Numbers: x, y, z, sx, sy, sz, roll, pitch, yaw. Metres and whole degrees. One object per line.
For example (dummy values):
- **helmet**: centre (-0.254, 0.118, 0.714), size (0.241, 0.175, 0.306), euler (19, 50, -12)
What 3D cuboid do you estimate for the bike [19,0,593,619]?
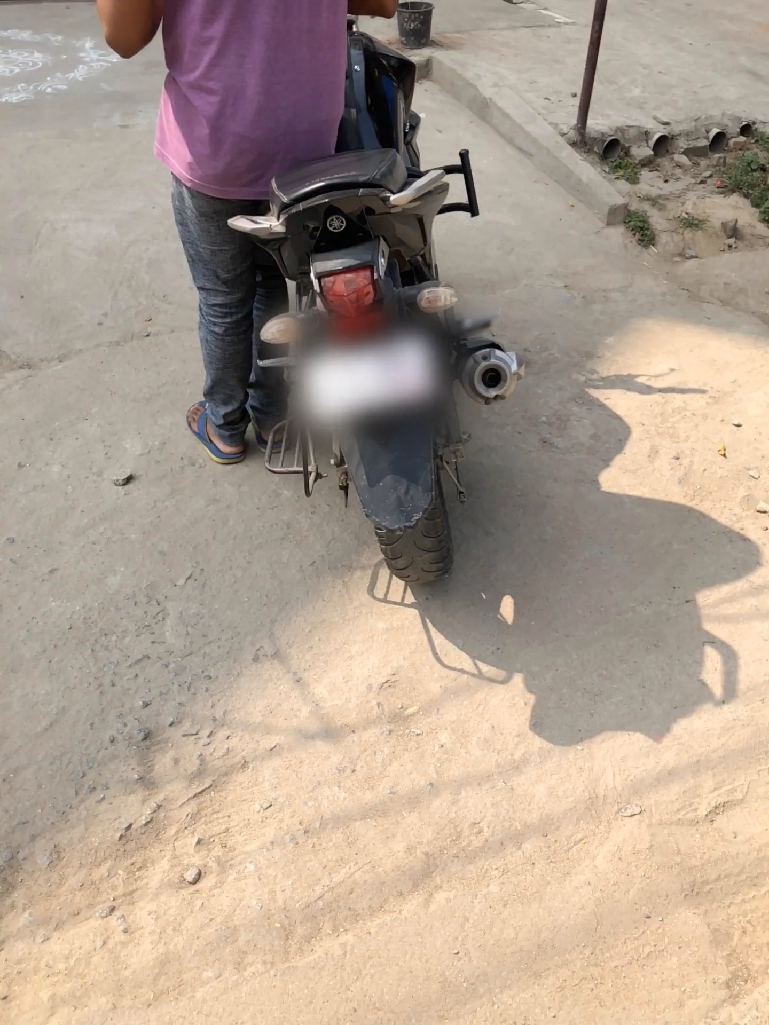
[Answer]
- **bike**: centre (-0.269, -0.744, 1.931), size (0.684, 0.959, 1.695), euler (-6, 44, -9)
